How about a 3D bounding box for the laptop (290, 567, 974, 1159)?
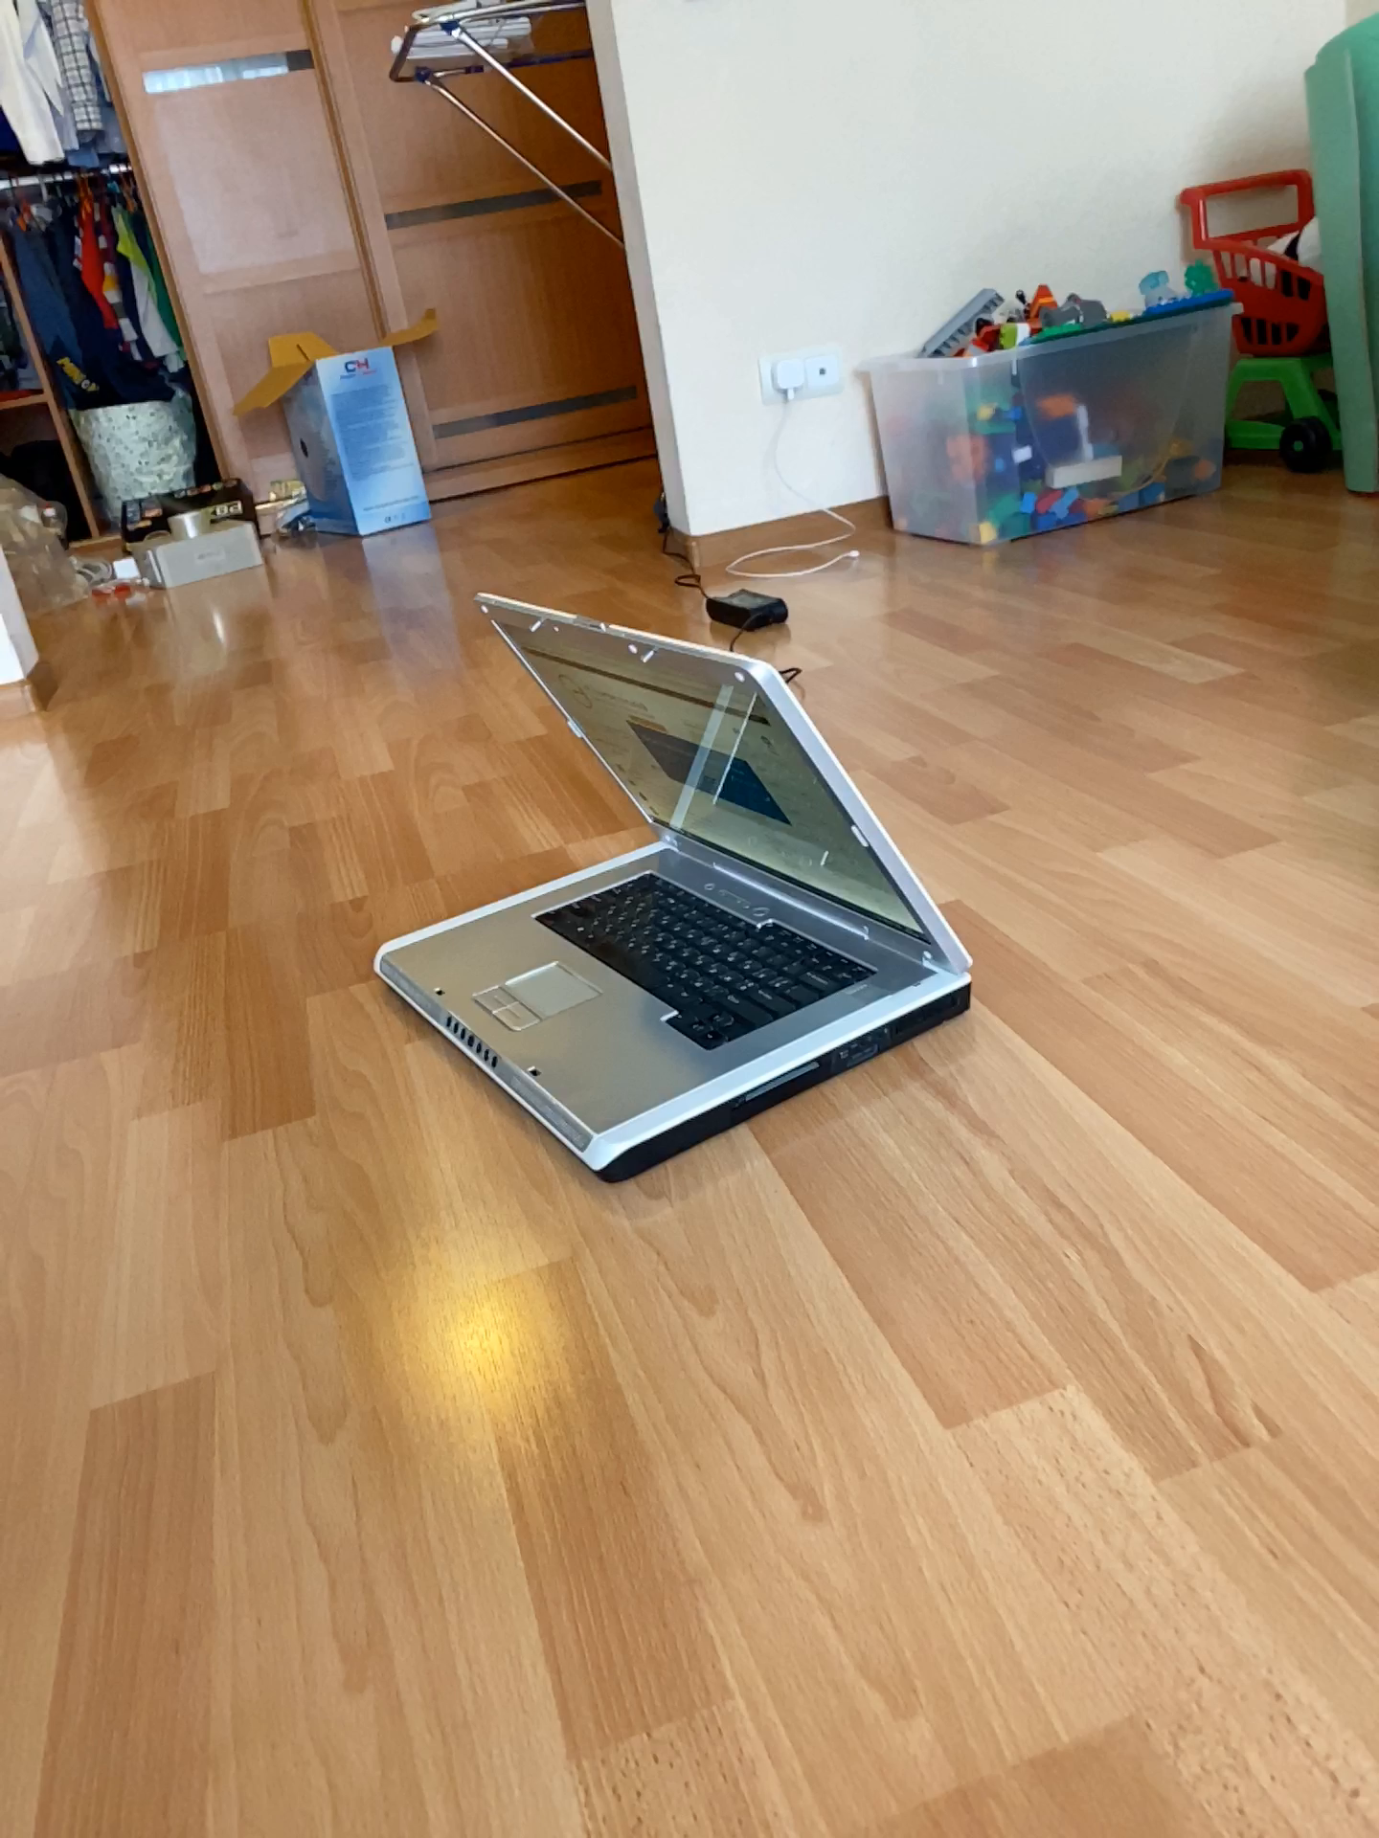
[{"bbox_3d":[-0.052,-0.074,0.950,0.273,0.238,0.388,-22,26,-26],"label":"laptop"}]
